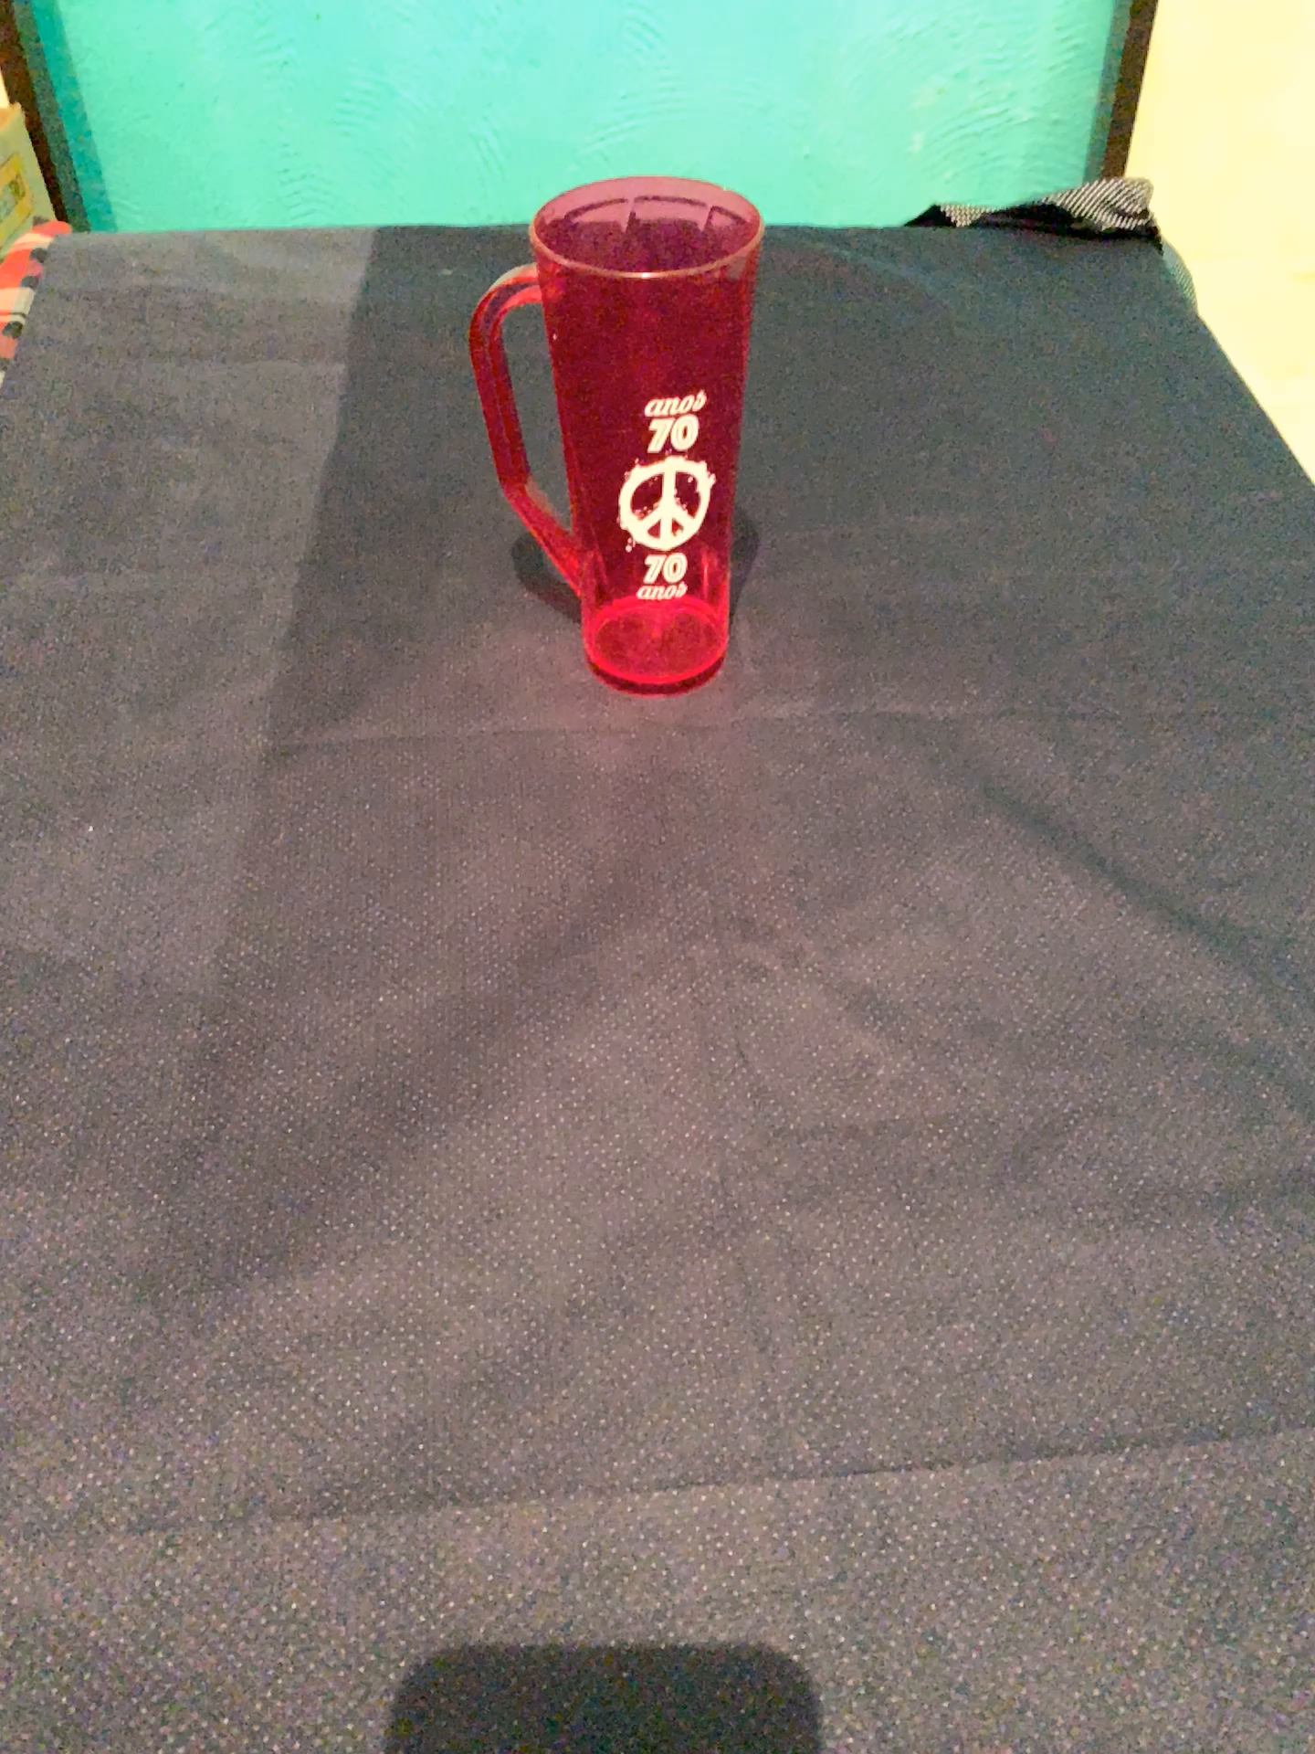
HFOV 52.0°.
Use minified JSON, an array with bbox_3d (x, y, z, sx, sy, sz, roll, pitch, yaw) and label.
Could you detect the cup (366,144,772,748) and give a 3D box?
[{"bbox_3d":[-0.024,-0.140,0.459,0.100,0.169,0.070,14,51,13],"label":"cup"}]
